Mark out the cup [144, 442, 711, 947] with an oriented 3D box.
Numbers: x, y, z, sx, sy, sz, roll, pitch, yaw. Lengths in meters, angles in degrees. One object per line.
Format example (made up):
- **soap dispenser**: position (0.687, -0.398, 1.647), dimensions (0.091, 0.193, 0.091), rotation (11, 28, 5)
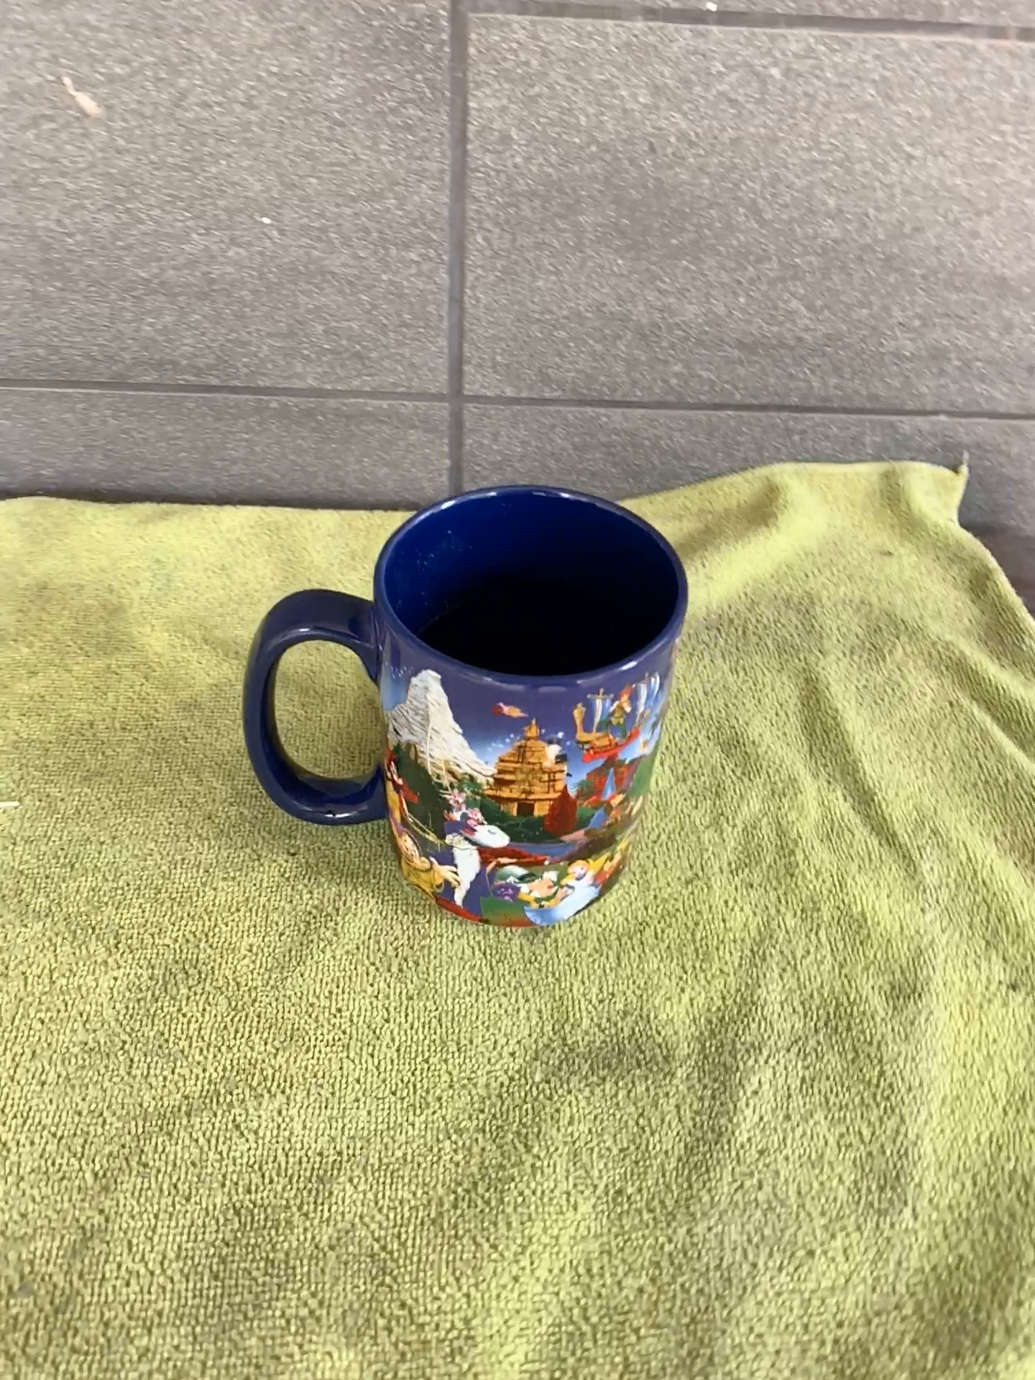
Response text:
- **cup**: position (-0.022, 0.003, 0.315), dimensions (0.130, 0.110, 0.090), rotation (3, 44, -1)
